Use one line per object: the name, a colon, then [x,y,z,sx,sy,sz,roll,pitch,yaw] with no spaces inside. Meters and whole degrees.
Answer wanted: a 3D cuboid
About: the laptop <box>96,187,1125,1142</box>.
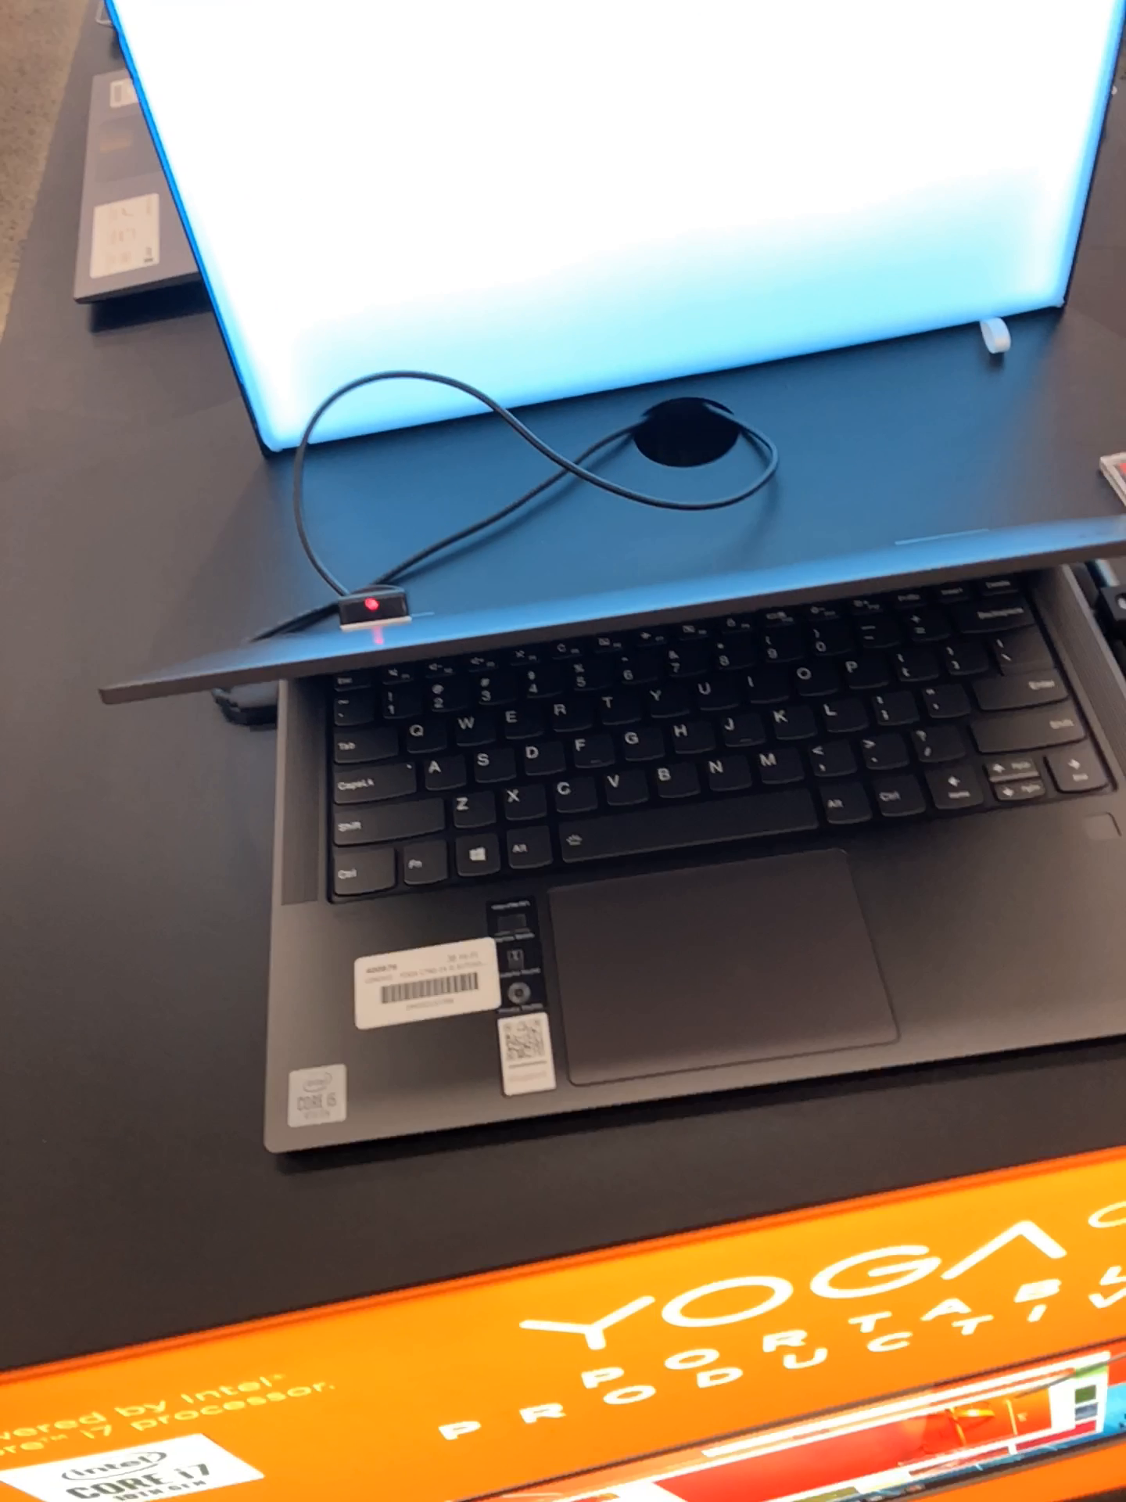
laptop: [0.047,-0.029,0.392,0.319,0.144,0.210,-8,52,1]
